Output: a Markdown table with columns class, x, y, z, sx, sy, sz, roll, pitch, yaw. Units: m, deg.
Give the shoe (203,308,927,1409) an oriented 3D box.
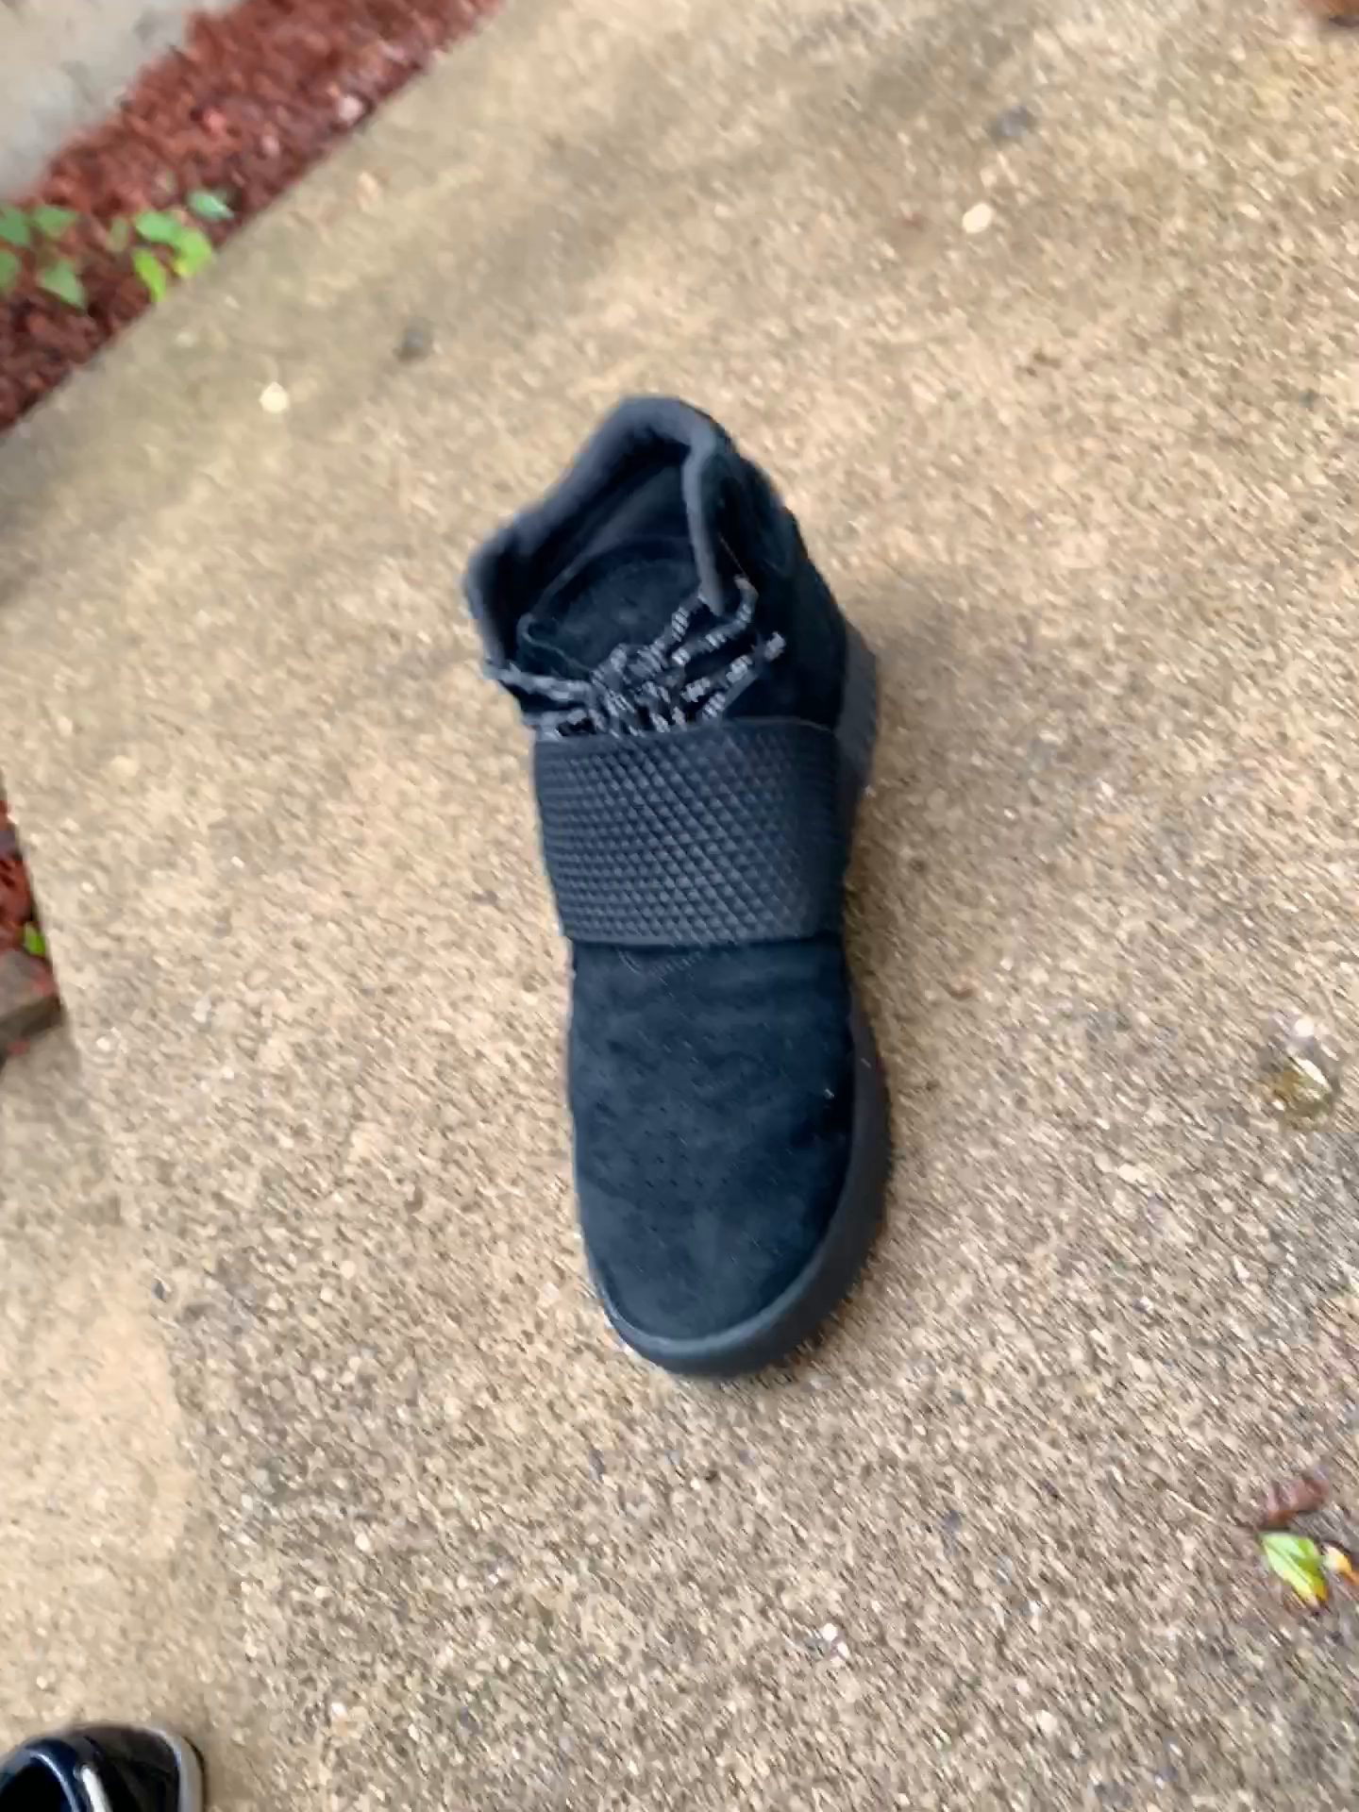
| class | x | y | z | sx | sy | sz | roll | pitch | yaw |
| --- | --- | --- | --- | --- | --- | --- | --- | --- | --- |
| shoe | -0.010 | -0.015 | 0.430 | 0.119 | 0.141 | 0.291 | -9 | 55 | 27 |
